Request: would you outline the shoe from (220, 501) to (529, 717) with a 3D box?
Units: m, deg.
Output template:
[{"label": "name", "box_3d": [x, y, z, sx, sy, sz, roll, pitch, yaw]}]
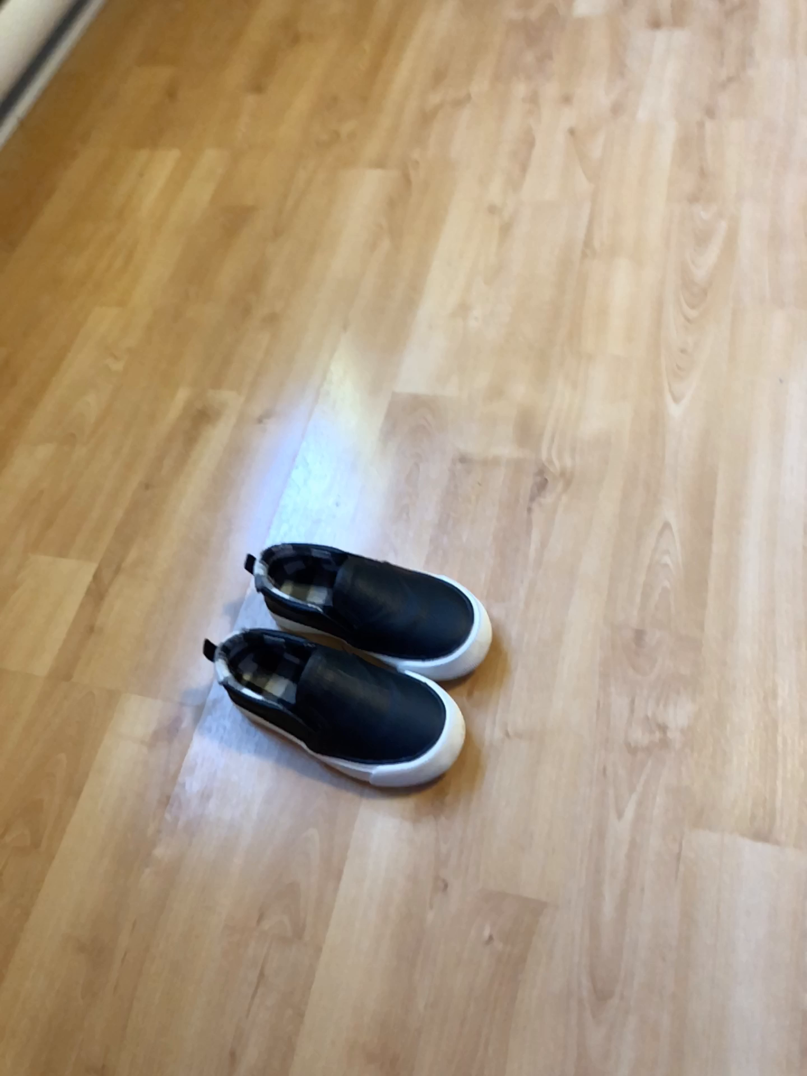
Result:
[{"label": "shoe", "box_3d": [-0.017, 0.044, 0.588, 0.180, 0.060, 0.080, 15, 63, 20]}]

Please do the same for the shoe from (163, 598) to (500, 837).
[{"label": "shoe", "box_3d": [-0.041, 0.107, 0.541, 0.180, 0.060, 0.080, 14, 62, 19]}]
